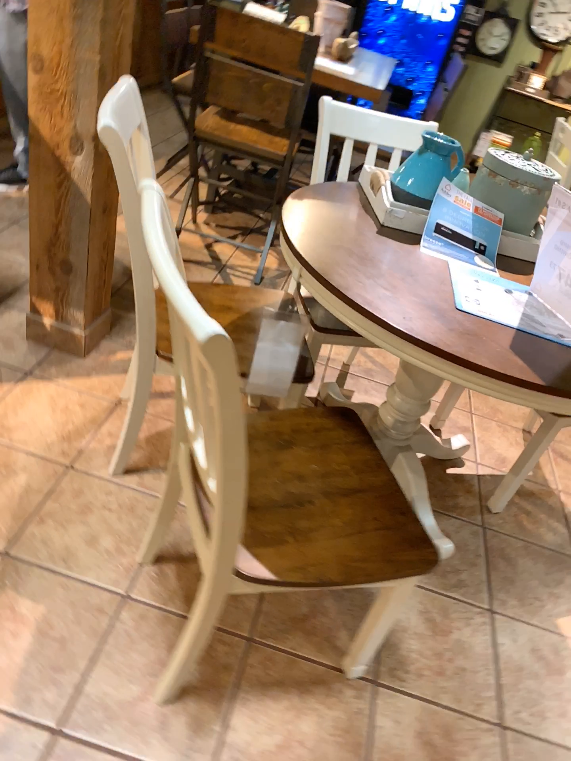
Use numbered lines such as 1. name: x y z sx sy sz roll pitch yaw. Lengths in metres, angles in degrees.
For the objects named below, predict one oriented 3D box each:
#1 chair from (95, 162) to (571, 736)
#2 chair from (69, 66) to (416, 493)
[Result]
1. chair: 0.005 0.161 1.120 0.633 0.890 0.492 1 39 -22
2. chair: -0.185 -0.213 1.542 0.633 0.900 0.492 7 37 -15
